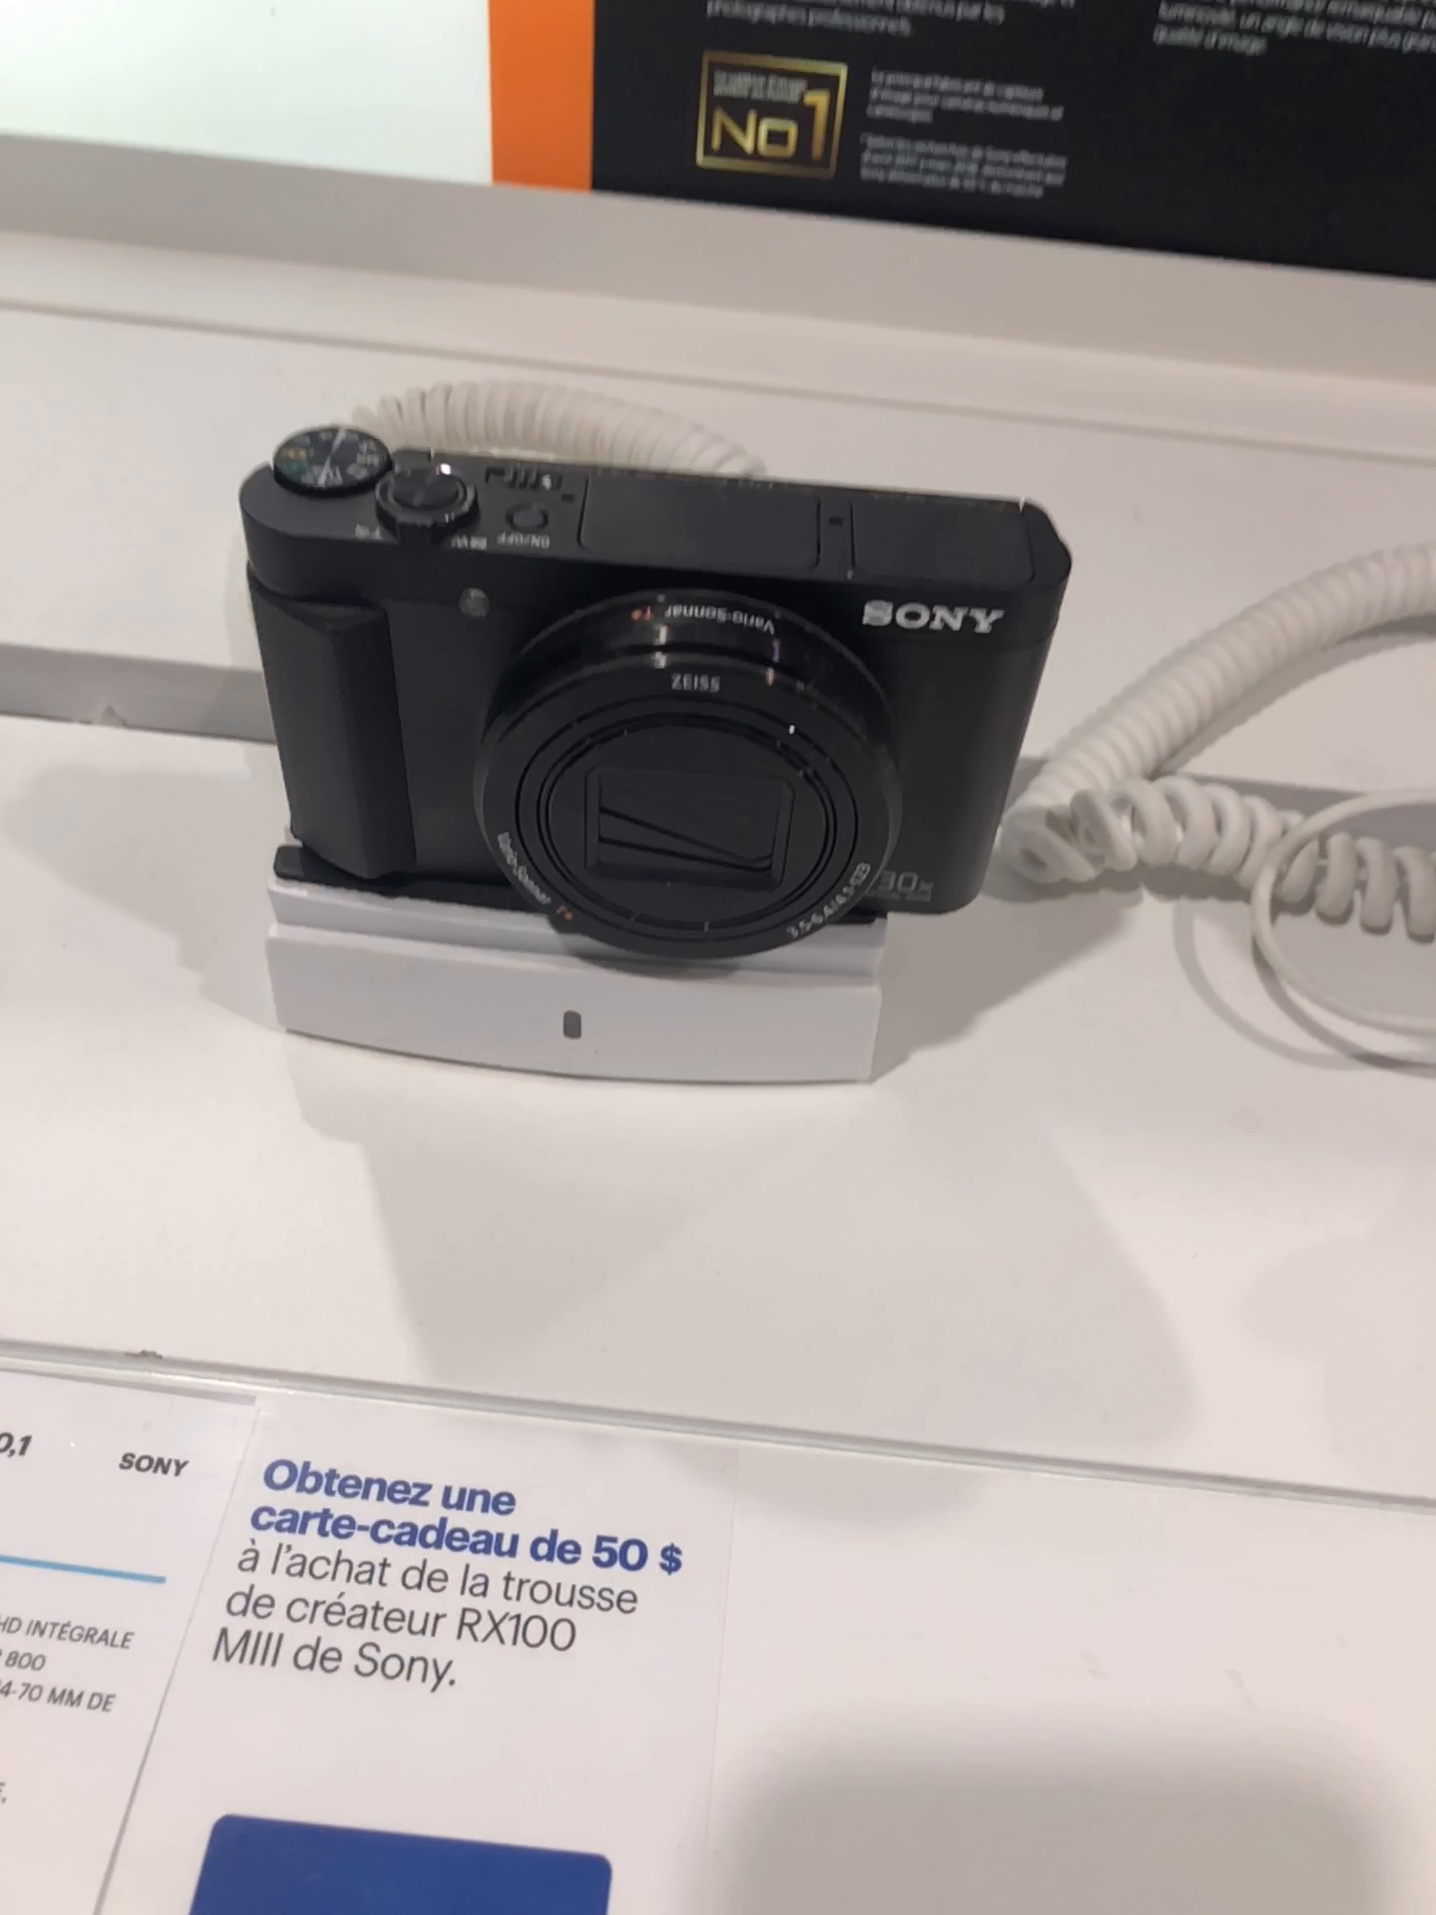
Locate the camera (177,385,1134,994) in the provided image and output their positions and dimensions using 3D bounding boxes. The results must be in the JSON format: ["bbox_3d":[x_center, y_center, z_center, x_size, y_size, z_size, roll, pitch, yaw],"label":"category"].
[{"bbox_3d":[-0.009,-0.034,0.219,0.110,0.069,0.030,4,45,-1],"label":"camera"}]
